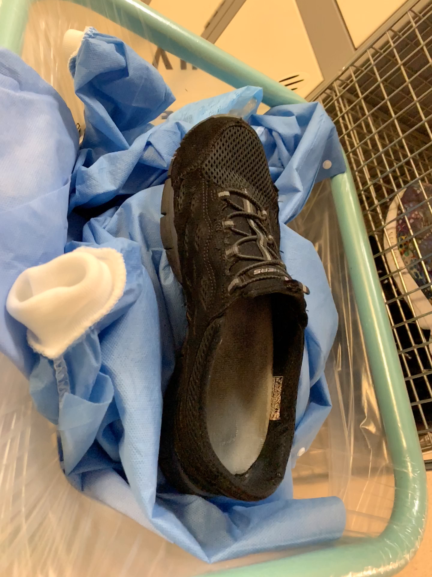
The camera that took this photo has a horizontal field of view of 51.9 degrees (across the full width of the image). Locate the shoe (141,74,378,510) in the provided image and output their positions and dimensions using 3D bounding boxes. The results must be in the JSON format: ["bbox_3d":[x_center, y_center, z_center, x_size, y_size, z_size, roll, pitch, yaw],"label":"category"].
[{"bbox_3d":[0.014,0.001,0.300,0.088,0.094,0.255,10,63,-35],"label":"shoe"}]
